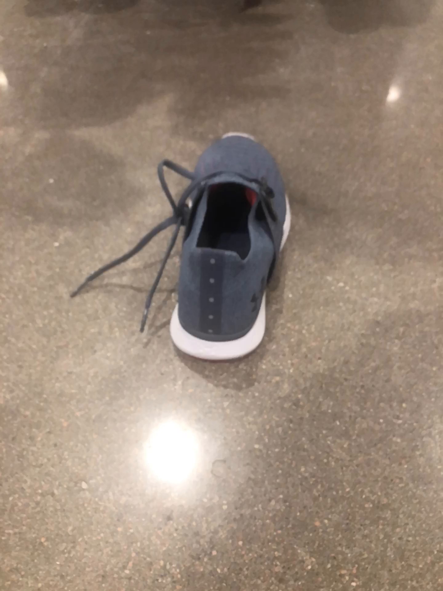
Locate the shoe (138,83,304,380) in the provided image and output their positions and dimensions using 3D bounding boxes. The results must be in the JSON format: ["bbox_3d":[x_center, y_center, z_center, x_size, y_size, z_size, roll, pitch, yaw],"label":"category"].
[{"bbox_3d":[0.013,-0.069,0.434,0.100,0.110,0.251,5,50,5],"label":"shoe"}]
